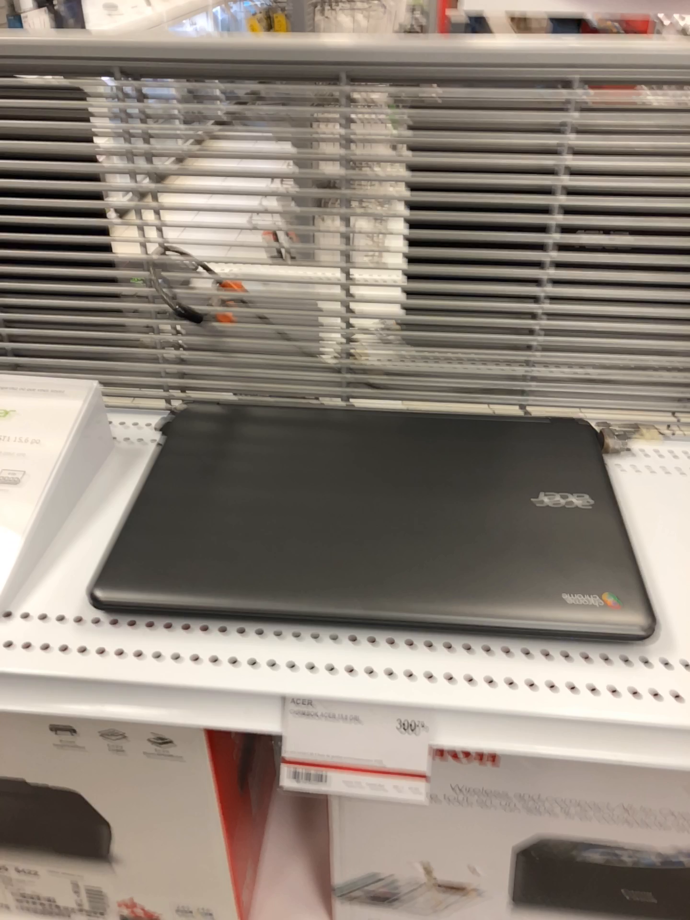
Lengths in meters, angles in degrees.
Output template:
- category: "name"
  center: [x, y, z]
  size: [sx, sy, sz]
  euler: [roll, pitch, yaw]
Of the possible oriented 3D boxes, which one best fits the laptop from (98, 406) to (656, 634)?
- category: "laptop"
  center: [0.021, 0.029, 0.594]
  size: [0.367, 0.001, 0.238]
  euler: [3, 36, 6]
